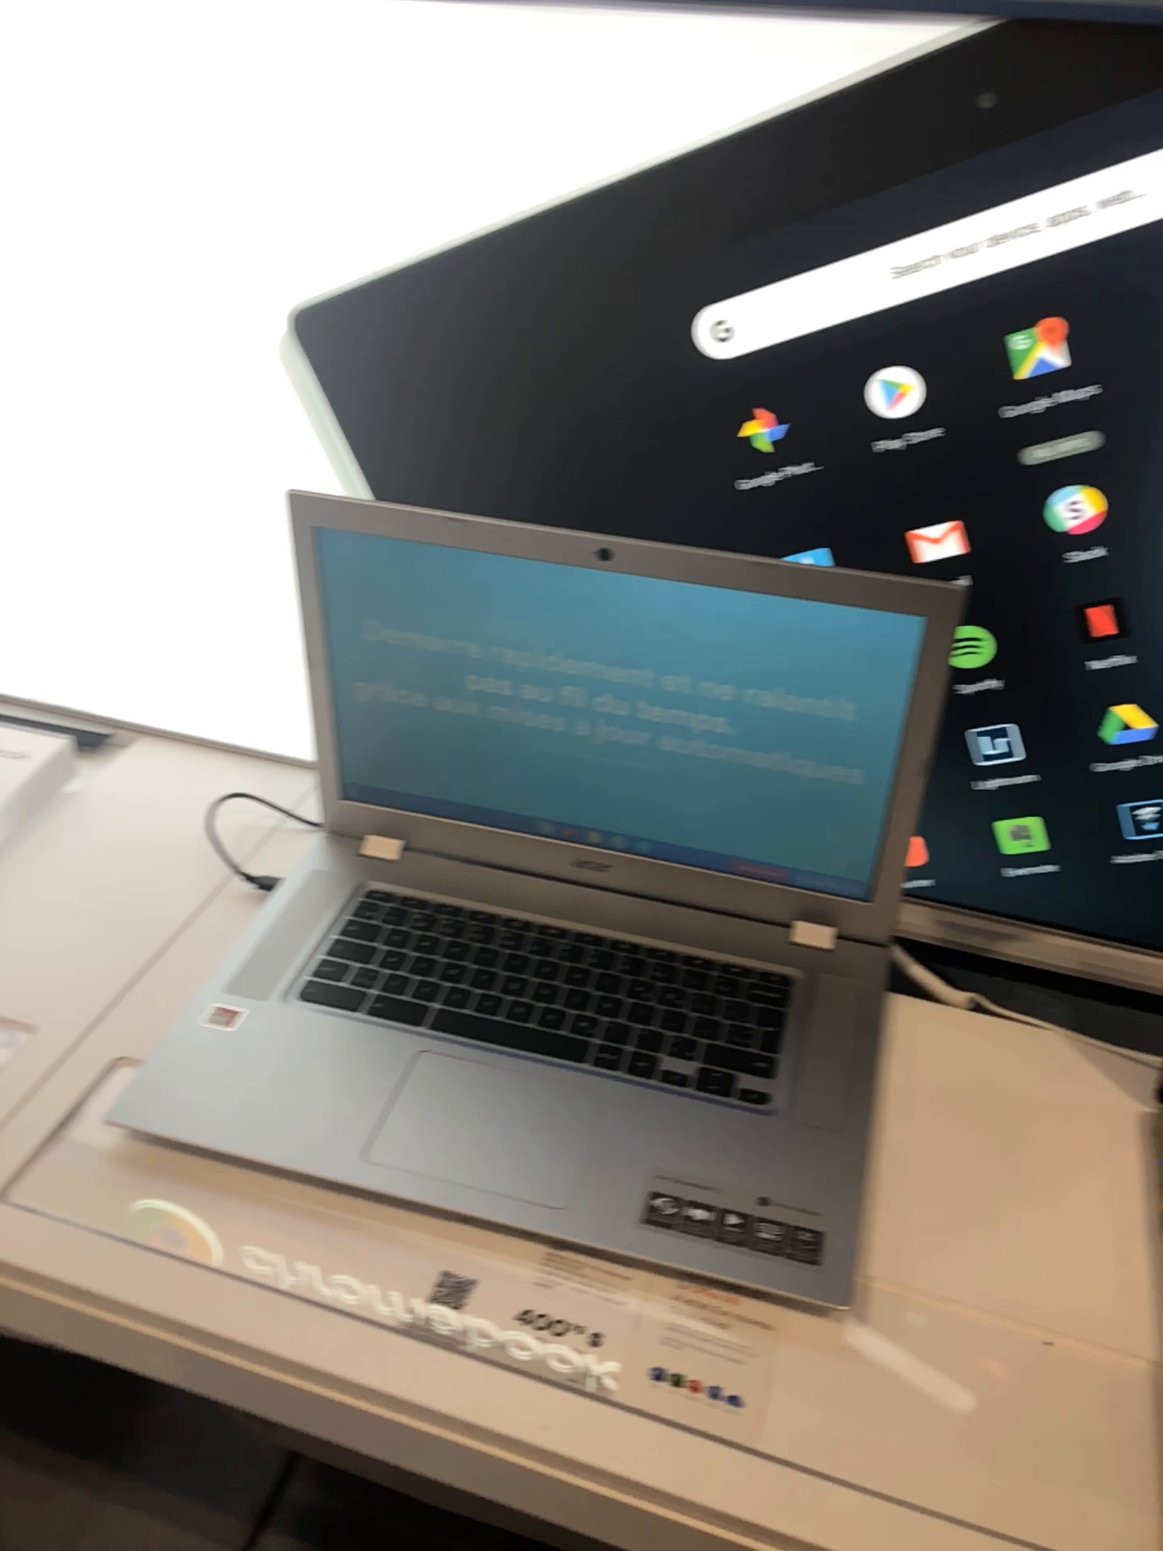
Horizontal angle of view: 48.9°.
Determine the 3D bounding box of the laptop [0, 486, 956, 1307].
[{"bbox_3d":[-0.025,0.037,0.659,0.377,0.250,0.265,10,34,12],"label":"laptop"}]
